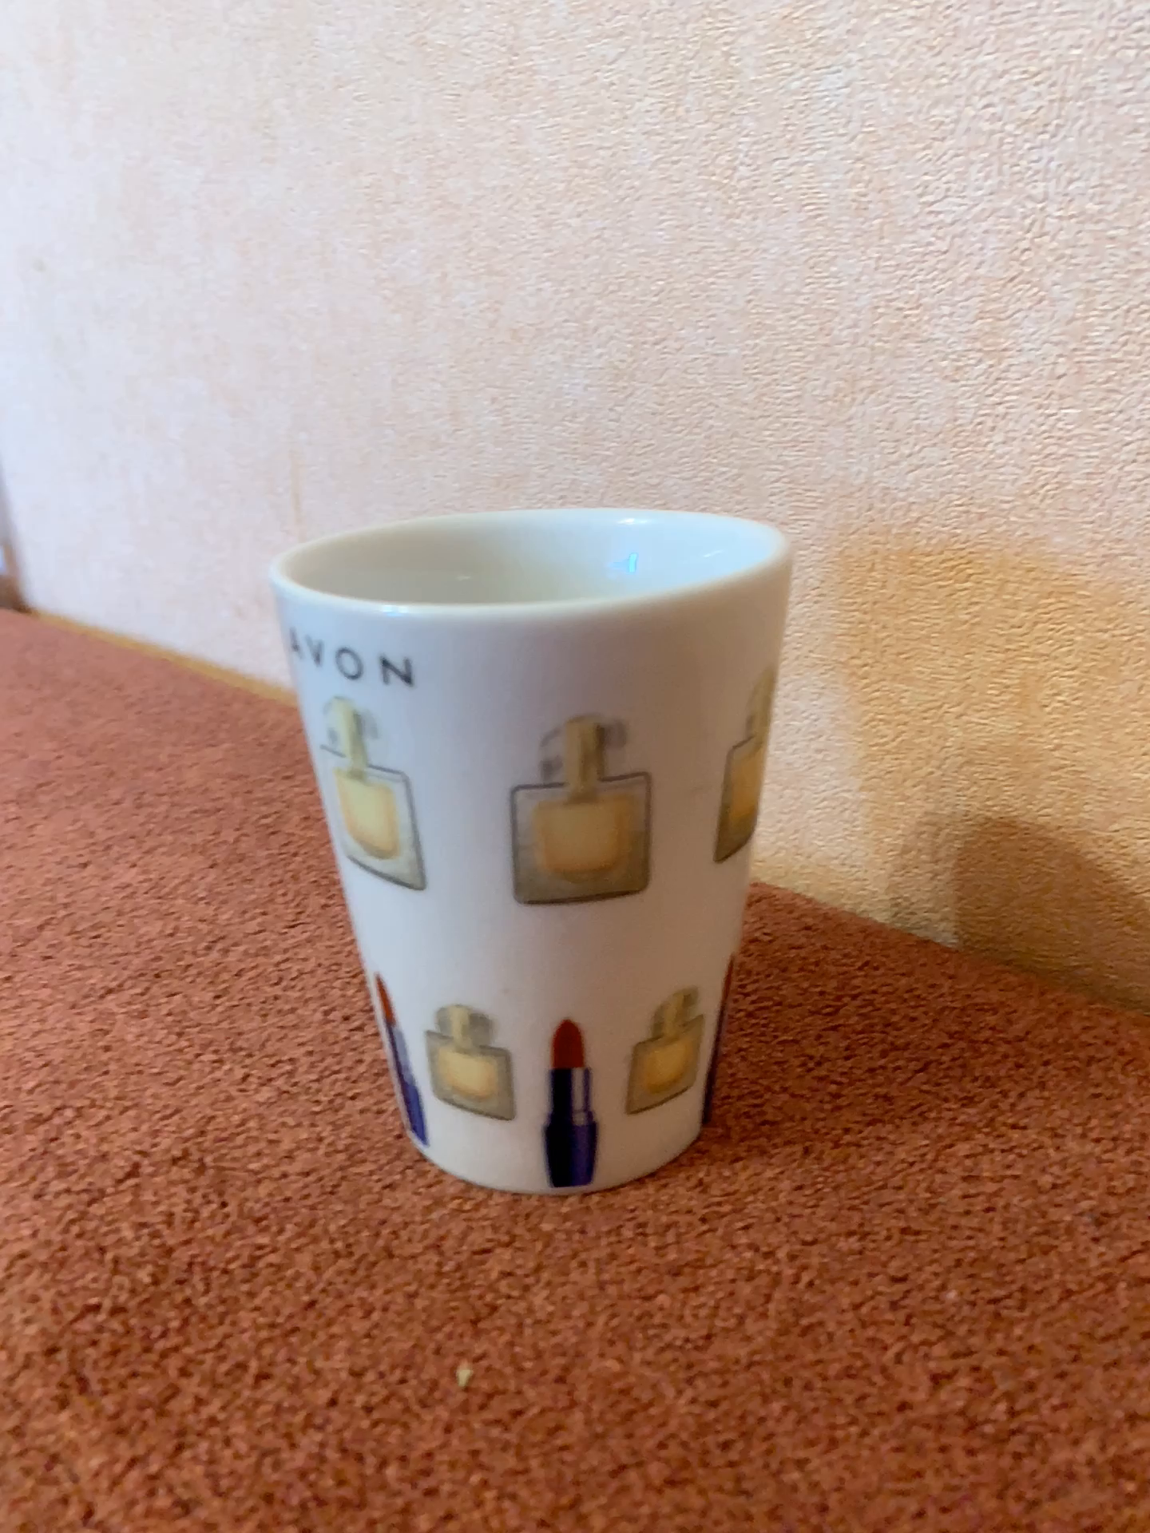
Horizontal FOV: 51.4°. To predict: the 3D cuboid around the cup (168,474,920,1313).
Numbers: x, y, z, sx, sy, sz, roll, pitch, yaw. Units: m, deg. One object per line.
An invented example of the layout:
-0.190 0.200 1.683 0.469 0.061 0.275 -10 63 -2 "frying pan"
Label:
-0.008 0.007 0.203 0.071 0.093 0.103 -19 27 -33 "cup"
